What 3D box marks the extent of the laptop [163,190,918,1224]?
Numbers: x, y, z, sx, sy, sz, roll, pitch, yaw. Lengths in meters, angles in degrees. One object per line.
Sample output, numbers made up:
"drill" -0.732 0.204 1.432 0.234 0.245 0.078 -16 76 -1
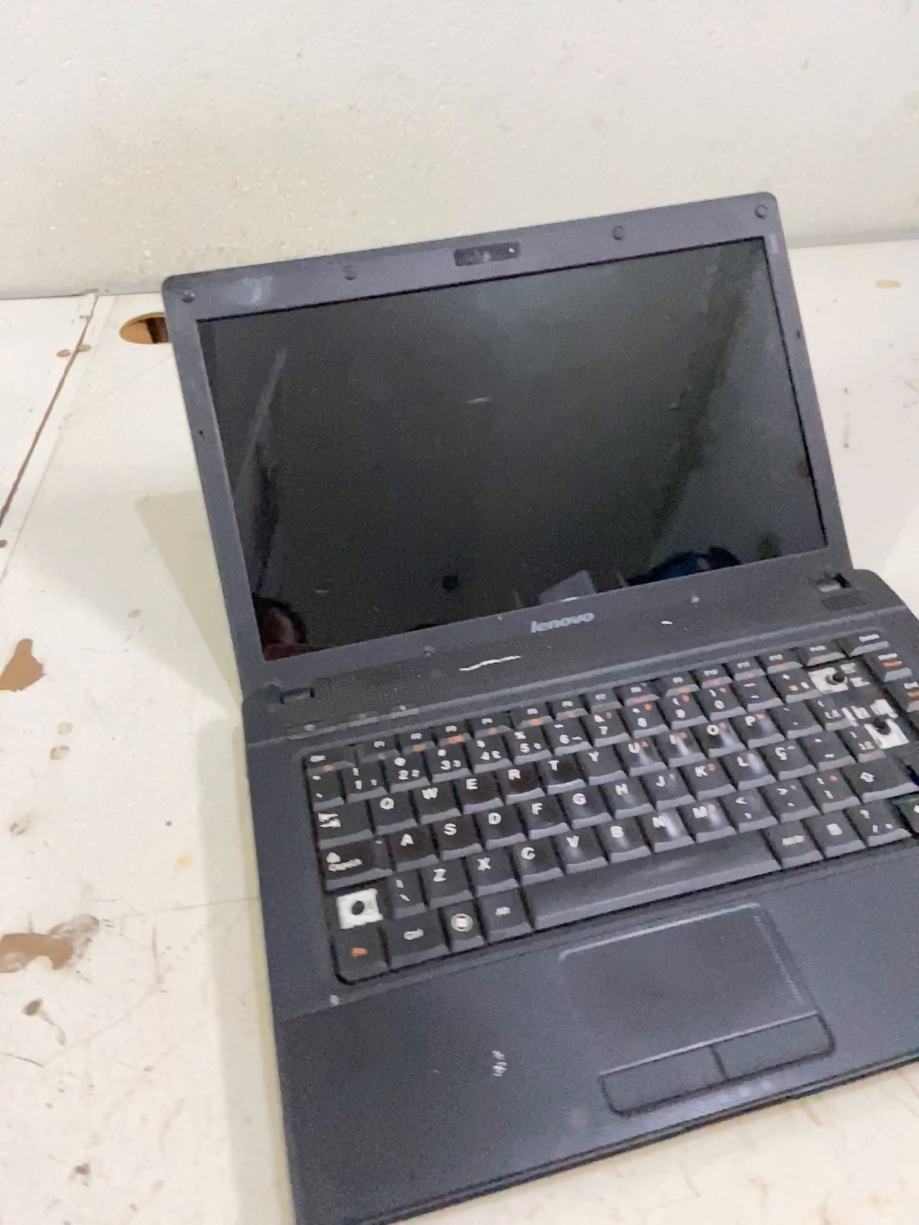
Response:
"laptop" 0.068 -0.024 0.436 0.357 0.147 0.424 -11 44 -9
